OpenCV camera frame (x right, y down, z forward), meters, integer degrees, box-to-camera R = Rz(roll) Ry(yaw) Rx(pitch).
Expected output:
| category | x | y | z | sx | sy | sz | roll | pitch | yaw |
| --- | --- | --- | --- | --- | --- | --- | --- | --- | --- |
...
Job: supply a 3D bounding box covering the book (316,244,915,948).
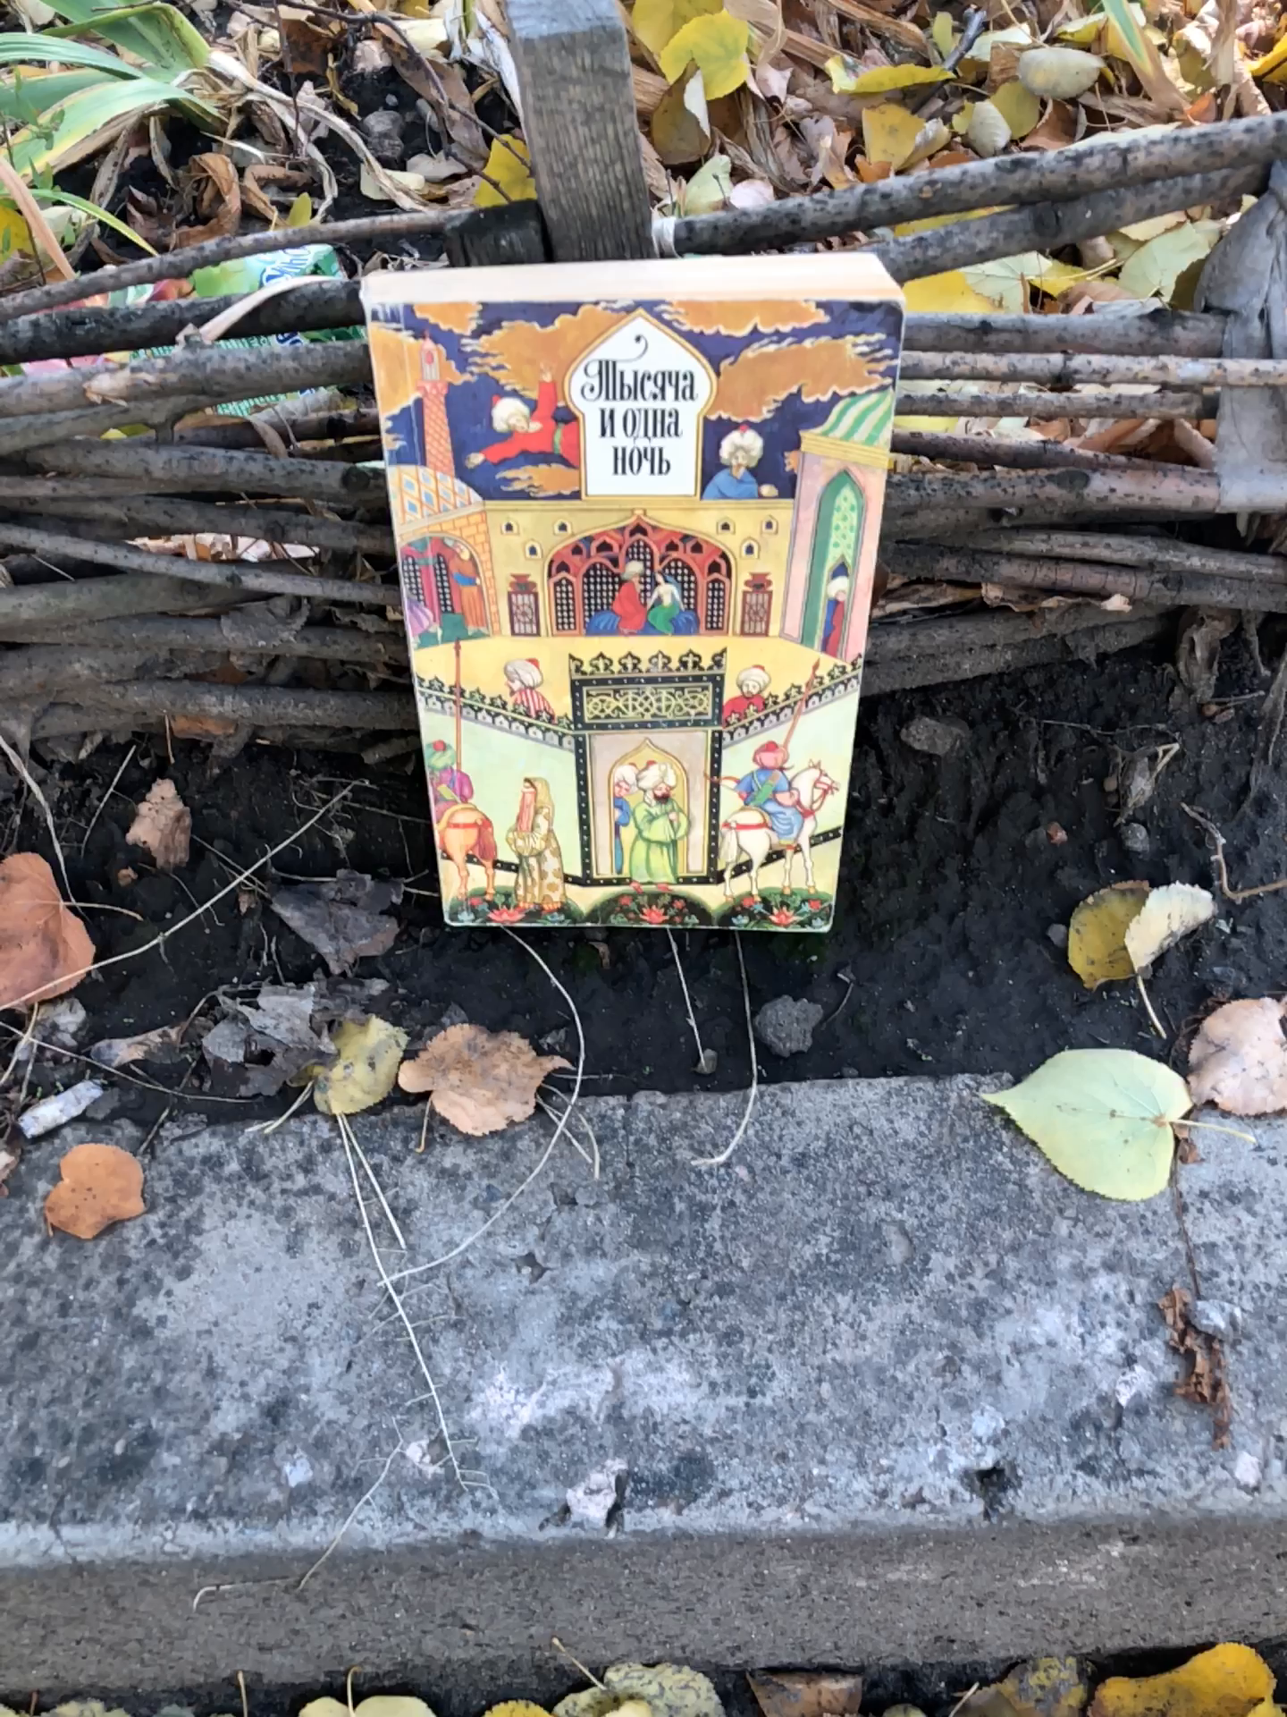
| category | x | y | z | sx | sy | sz | roll | pitch | yaw |
| --- | --- | --- | --- | --- | --- | --- | --- | --- | --- |
| book | -0.002 | -0.054 | 0.358 | 0.122 | 0.182 | 0.029 | 1 | 40 | 5 |
